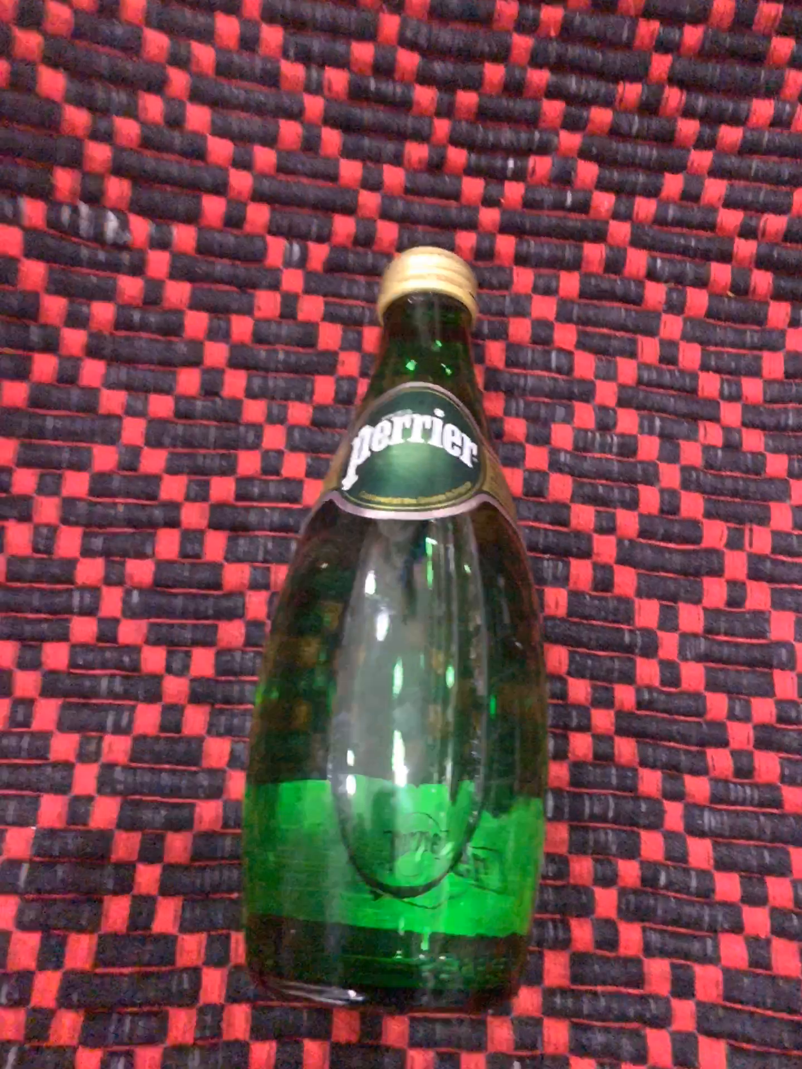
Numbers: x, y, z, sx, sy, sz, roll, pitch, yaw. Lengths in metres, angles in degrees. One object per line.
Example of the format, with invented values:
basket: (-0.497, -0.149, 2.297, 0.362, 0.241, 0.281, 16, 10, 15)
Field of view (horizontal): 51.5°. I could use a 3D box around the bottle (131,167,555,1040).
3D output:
bottle: (-0.001, 0.008, 0.202, 0.070, 0.070, 0.180, 2, 70, 7)
